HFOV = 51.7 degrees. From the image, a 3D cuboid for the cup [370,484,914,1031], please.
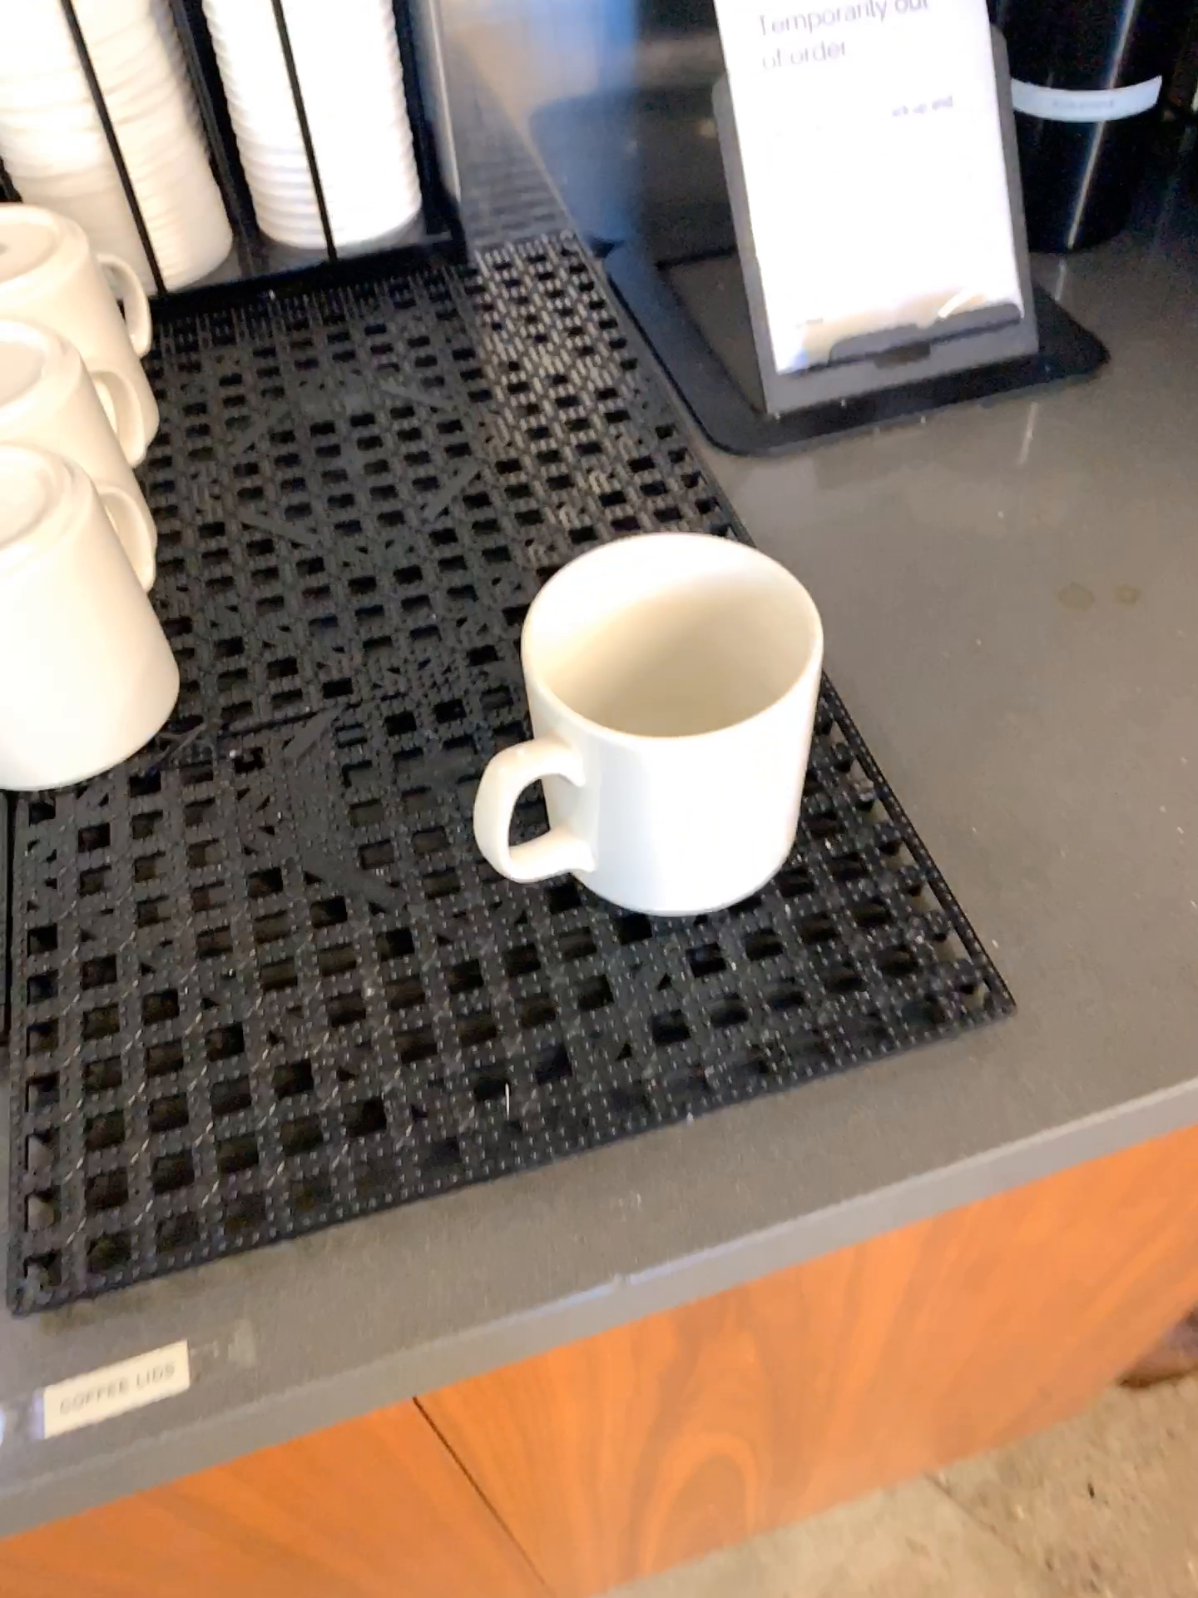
[{"bbox_3d":[0.014,-0.015,0.372,0.120,0.080,0.090,-34,57,-21],"label":"cup"}]
